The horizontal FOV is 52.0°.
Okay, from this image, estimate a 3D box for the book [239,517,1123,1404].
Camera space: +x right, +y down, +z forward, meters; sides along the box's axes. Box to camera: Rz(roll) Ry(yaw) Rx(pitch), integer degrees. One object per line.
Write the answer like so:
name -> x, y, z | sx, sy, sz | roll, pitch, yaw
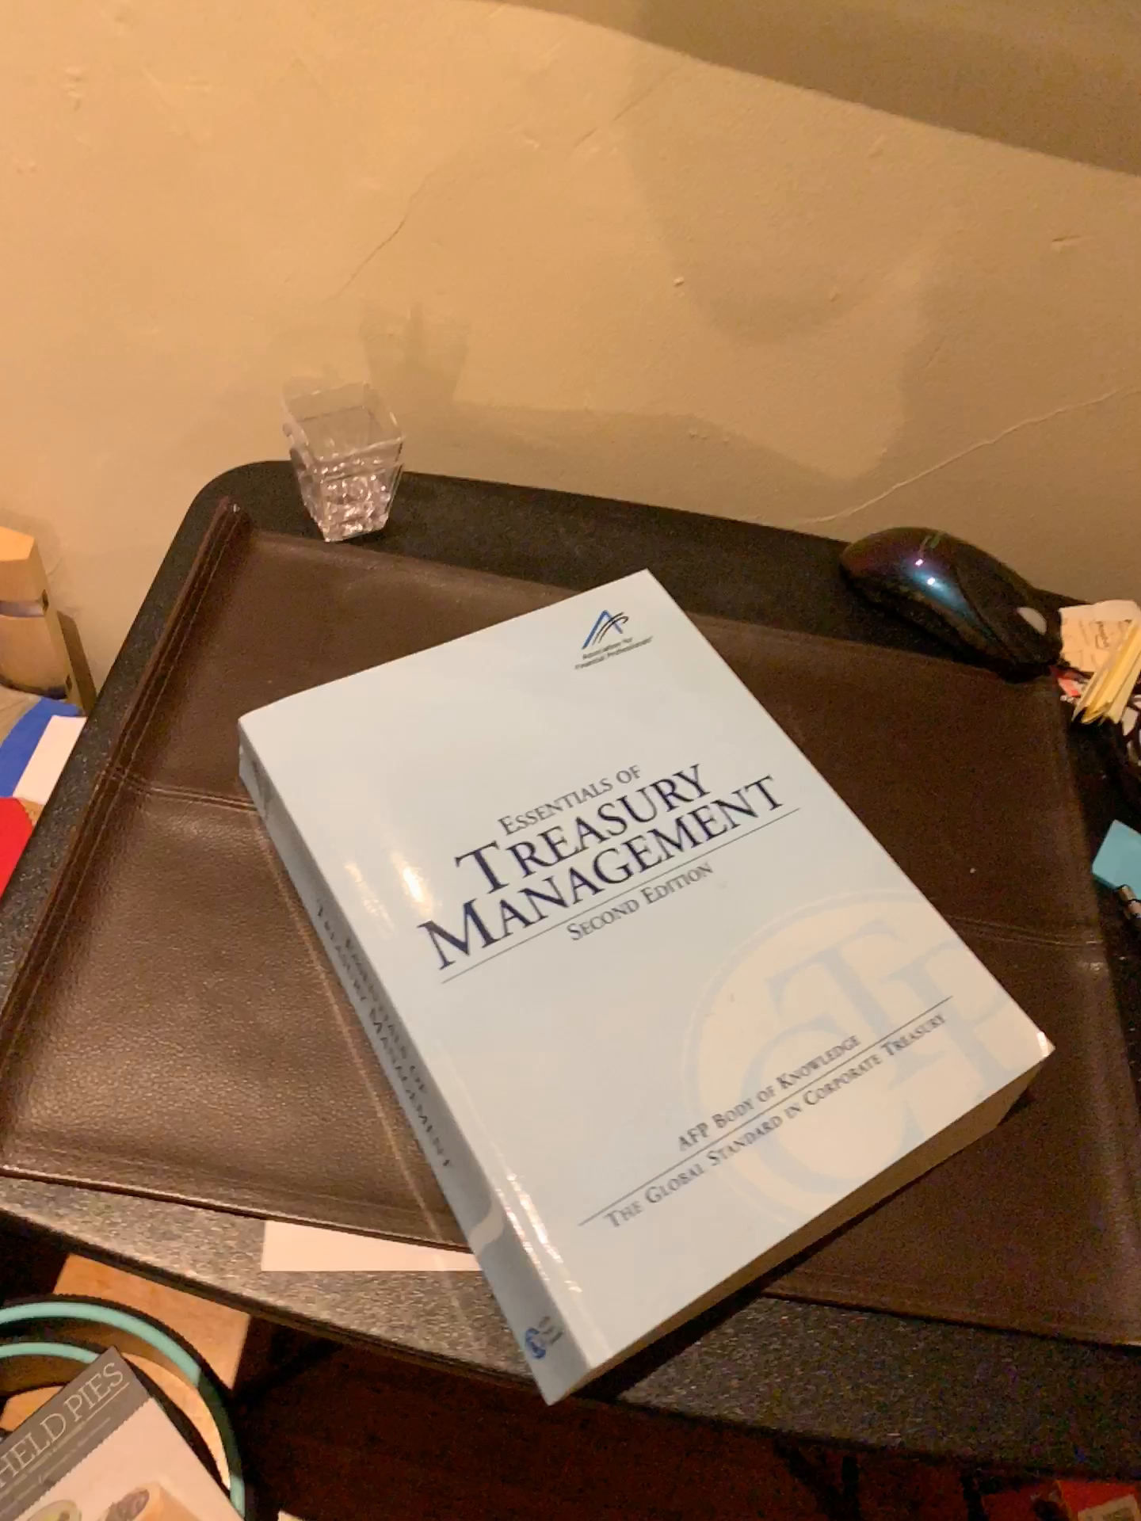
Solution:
book -> 0.029, 0.048, 0.477 | 0.220, 0.060, 0.301 | -21, 61, -23
